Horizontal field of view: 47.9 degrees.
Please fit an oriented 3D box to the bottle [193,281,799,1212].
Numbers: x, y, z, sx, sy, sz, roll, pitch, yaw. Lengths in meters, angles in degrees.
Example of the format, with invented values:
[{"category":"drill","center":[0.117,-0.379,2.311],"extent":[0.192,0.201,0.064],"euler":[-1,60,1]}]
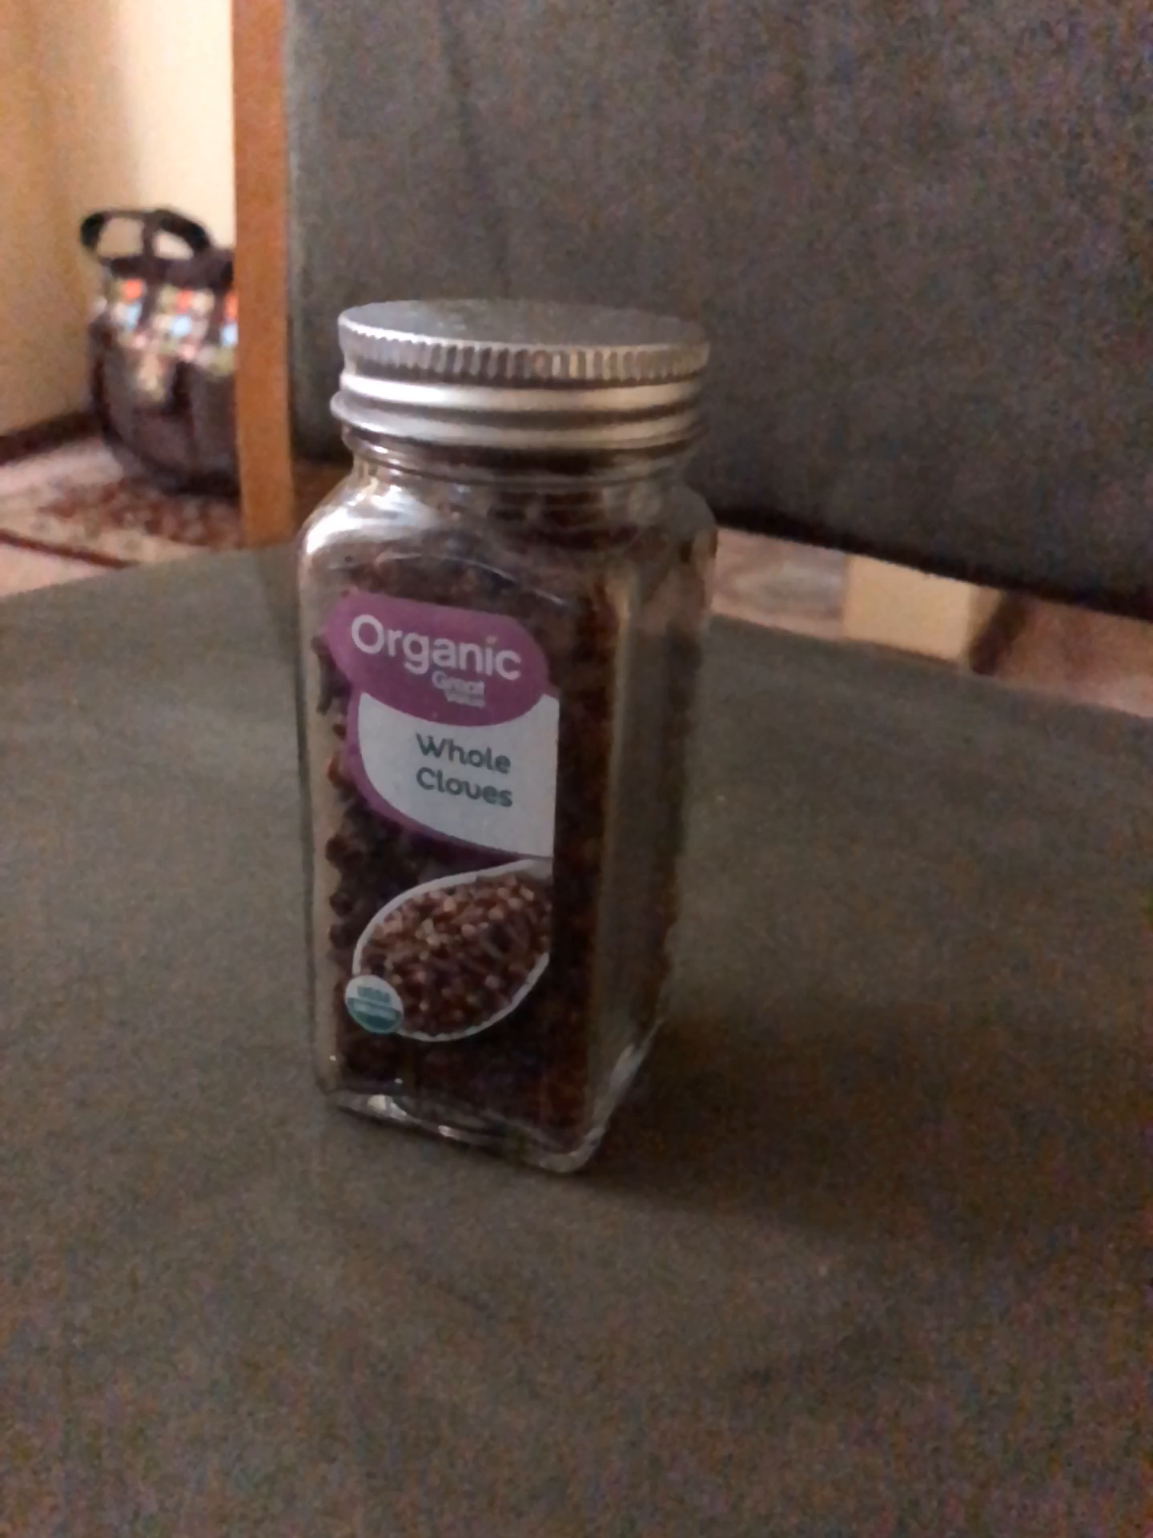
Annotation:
[{"category":"bottle","center":[-0.008,-0.006,0.166],"extent":[0.050,0.100,0.050],"euler":[1,25,-1]}]
